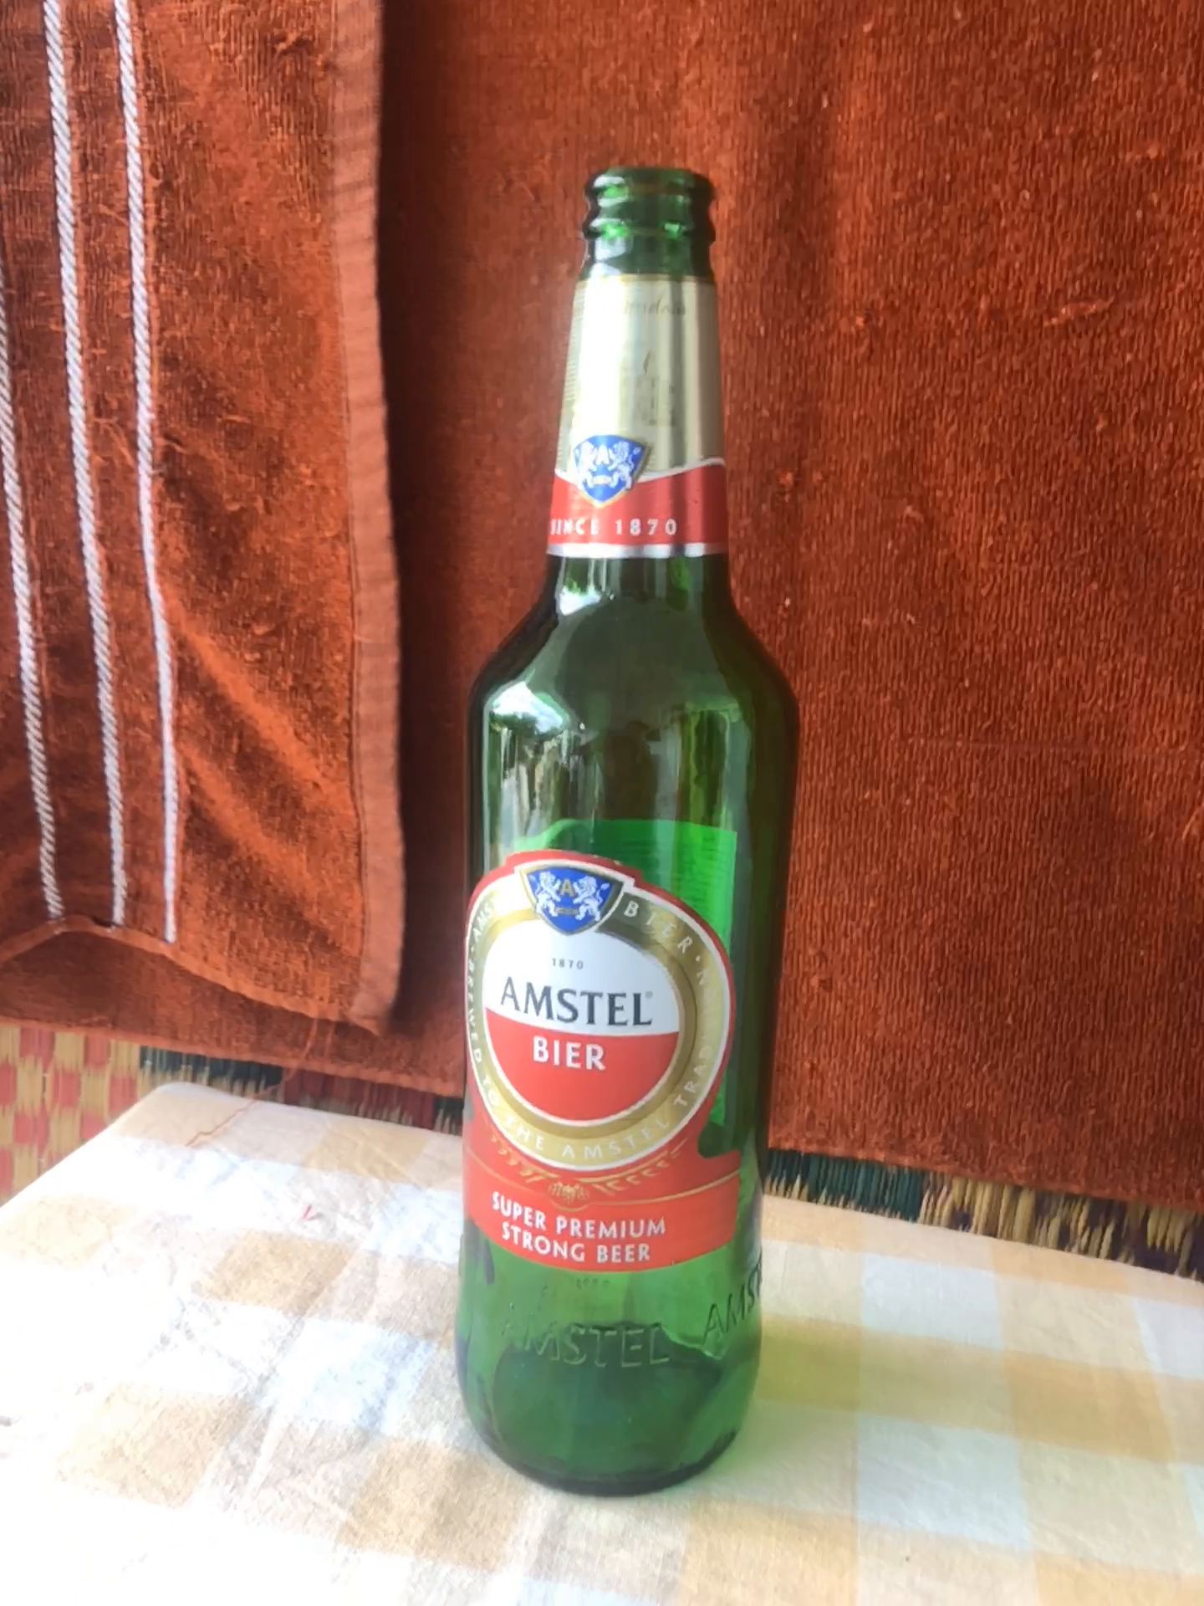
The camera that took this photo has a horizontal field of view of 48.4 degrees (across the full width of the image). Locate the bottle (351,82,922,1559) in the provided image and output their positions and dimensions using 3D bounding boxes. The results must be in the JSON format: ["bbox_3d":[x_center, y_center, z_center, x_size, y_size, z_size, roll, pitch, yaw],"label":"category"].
[{"bbox_3d":[0.004,0.007,0.286,0.080,0.269,0.080,3,15,-1],"label":"bottle"}]
